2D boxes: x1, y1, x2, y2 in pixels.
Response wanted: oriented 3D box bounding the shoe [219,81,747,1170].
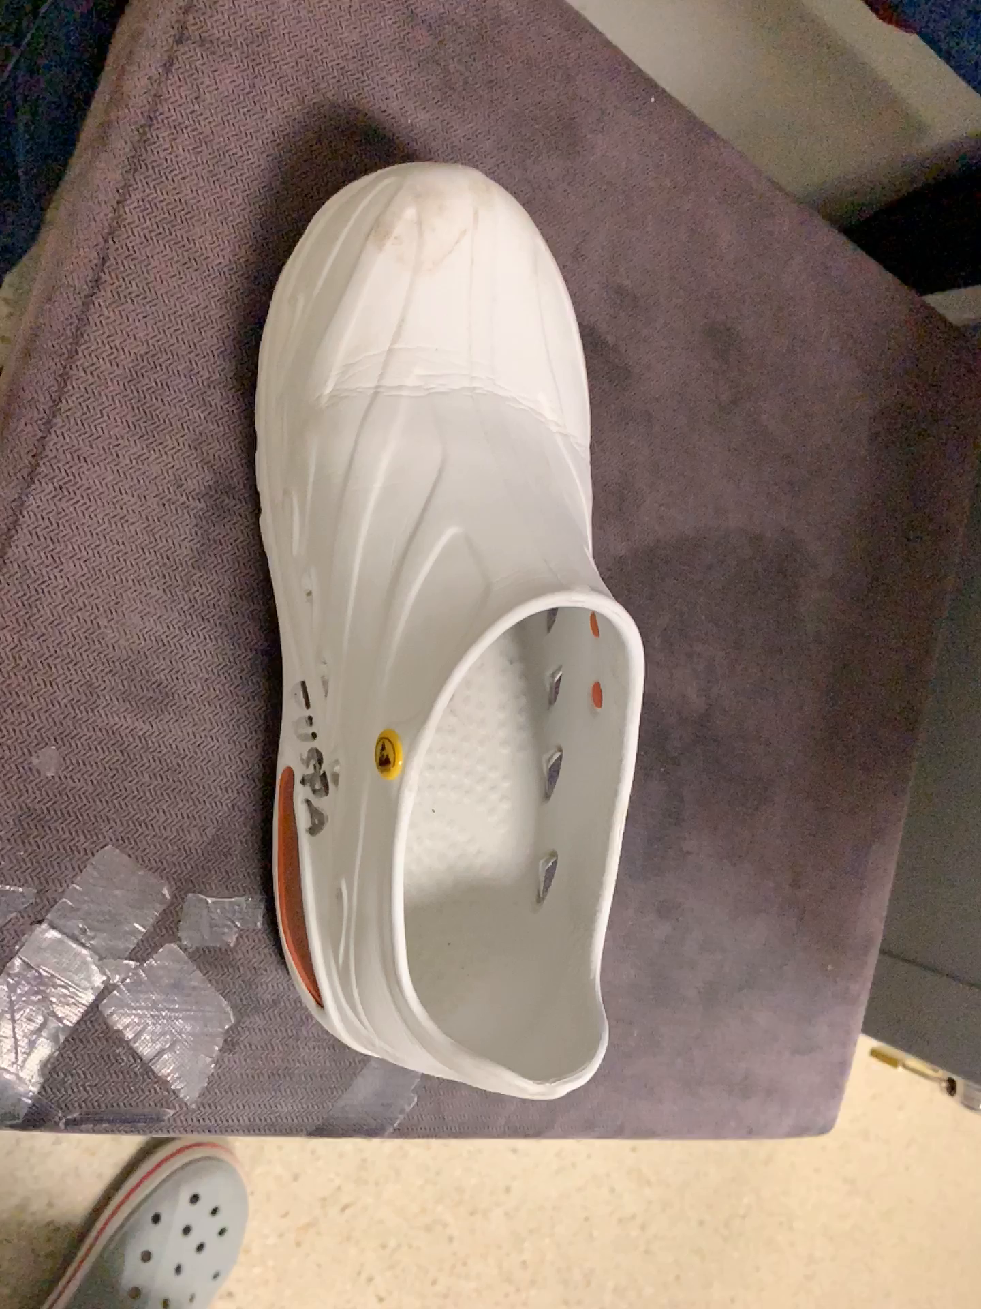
[{"bbox_3d":[-0.007,-0.006,0.262,0.092,0.093,0.213,0,94,-34],"label":"shoe"}]
